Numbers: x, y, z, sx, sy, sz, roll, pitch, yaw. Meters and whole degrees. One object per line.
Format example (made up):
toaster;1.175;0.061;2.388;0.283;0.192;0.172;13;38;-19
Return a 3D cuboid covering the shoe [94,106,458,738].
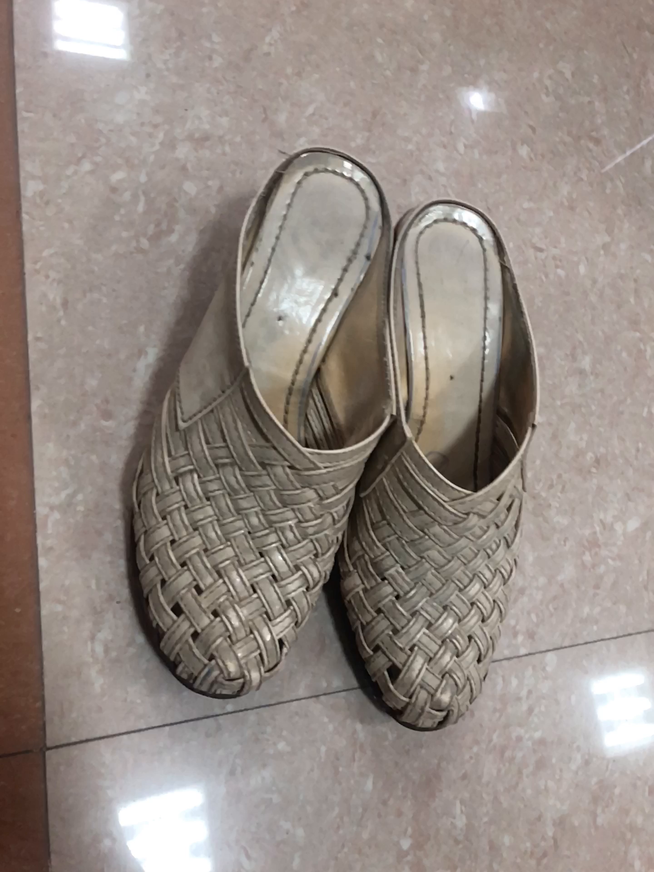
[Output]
shoe;-0.018;-0.004;0.305;0.100;0.085;0.225;14;70;-16

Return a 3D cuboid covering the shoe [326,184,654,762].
shoe;0.066;0.016;0.326;0.100;0.085;0.221;3;73;-20
